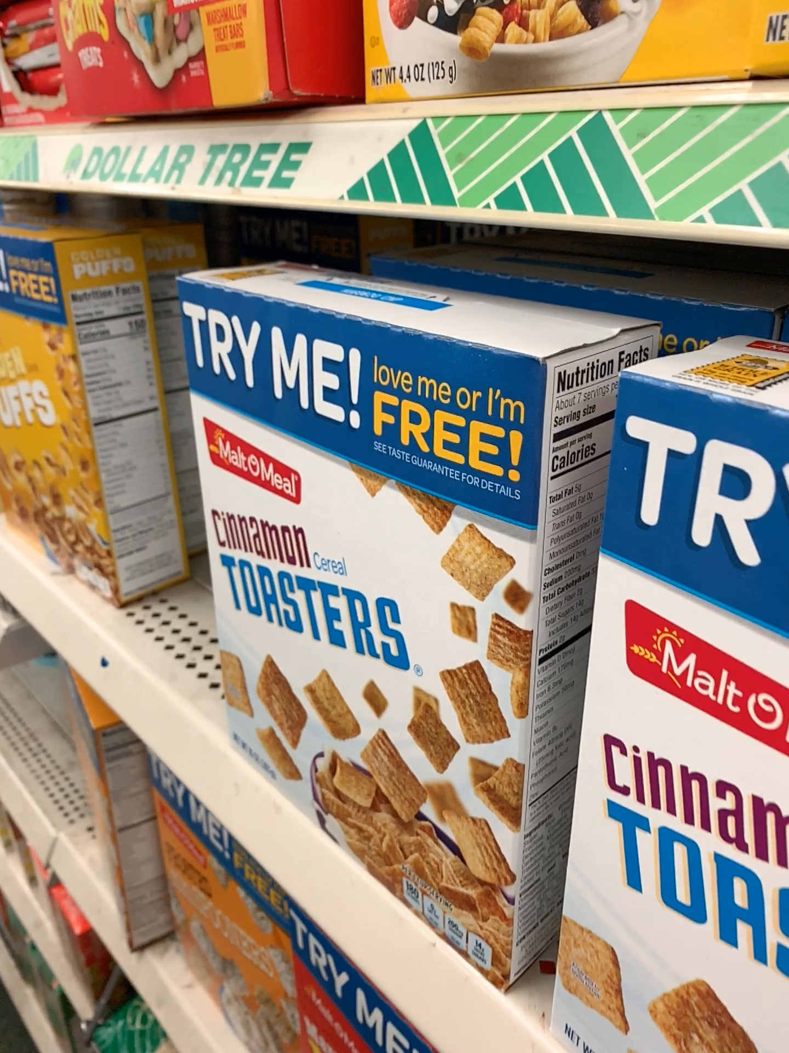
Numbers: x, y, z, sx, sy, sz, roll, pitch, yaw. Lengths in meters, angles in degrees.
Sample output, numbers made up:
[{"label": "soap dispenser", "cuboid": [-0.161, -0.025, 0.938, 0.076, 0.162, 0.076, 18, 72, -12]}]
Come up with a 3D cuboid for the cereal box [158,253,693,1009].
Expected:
[{"label": "cereal box", "cuboid": [-0.002, 0.026, 0.288, 0.050, 0.209, 0.171, -24, 35, -38]}]
